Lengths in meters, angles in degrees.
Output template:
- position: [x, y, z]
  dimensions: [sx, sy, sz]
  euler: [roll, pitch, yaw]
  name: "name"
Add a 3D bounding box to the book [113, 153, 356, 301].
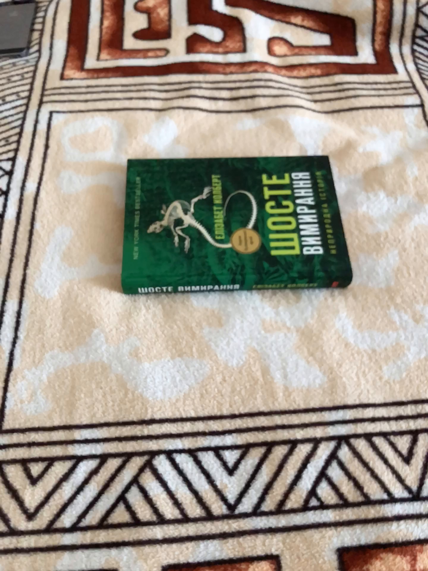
- position: [0.015, -0.063, 0.478]
  dimensions: [0.220, 0.030, 0.150]
  euler: [-2, 62, -2]
  name: "book"
